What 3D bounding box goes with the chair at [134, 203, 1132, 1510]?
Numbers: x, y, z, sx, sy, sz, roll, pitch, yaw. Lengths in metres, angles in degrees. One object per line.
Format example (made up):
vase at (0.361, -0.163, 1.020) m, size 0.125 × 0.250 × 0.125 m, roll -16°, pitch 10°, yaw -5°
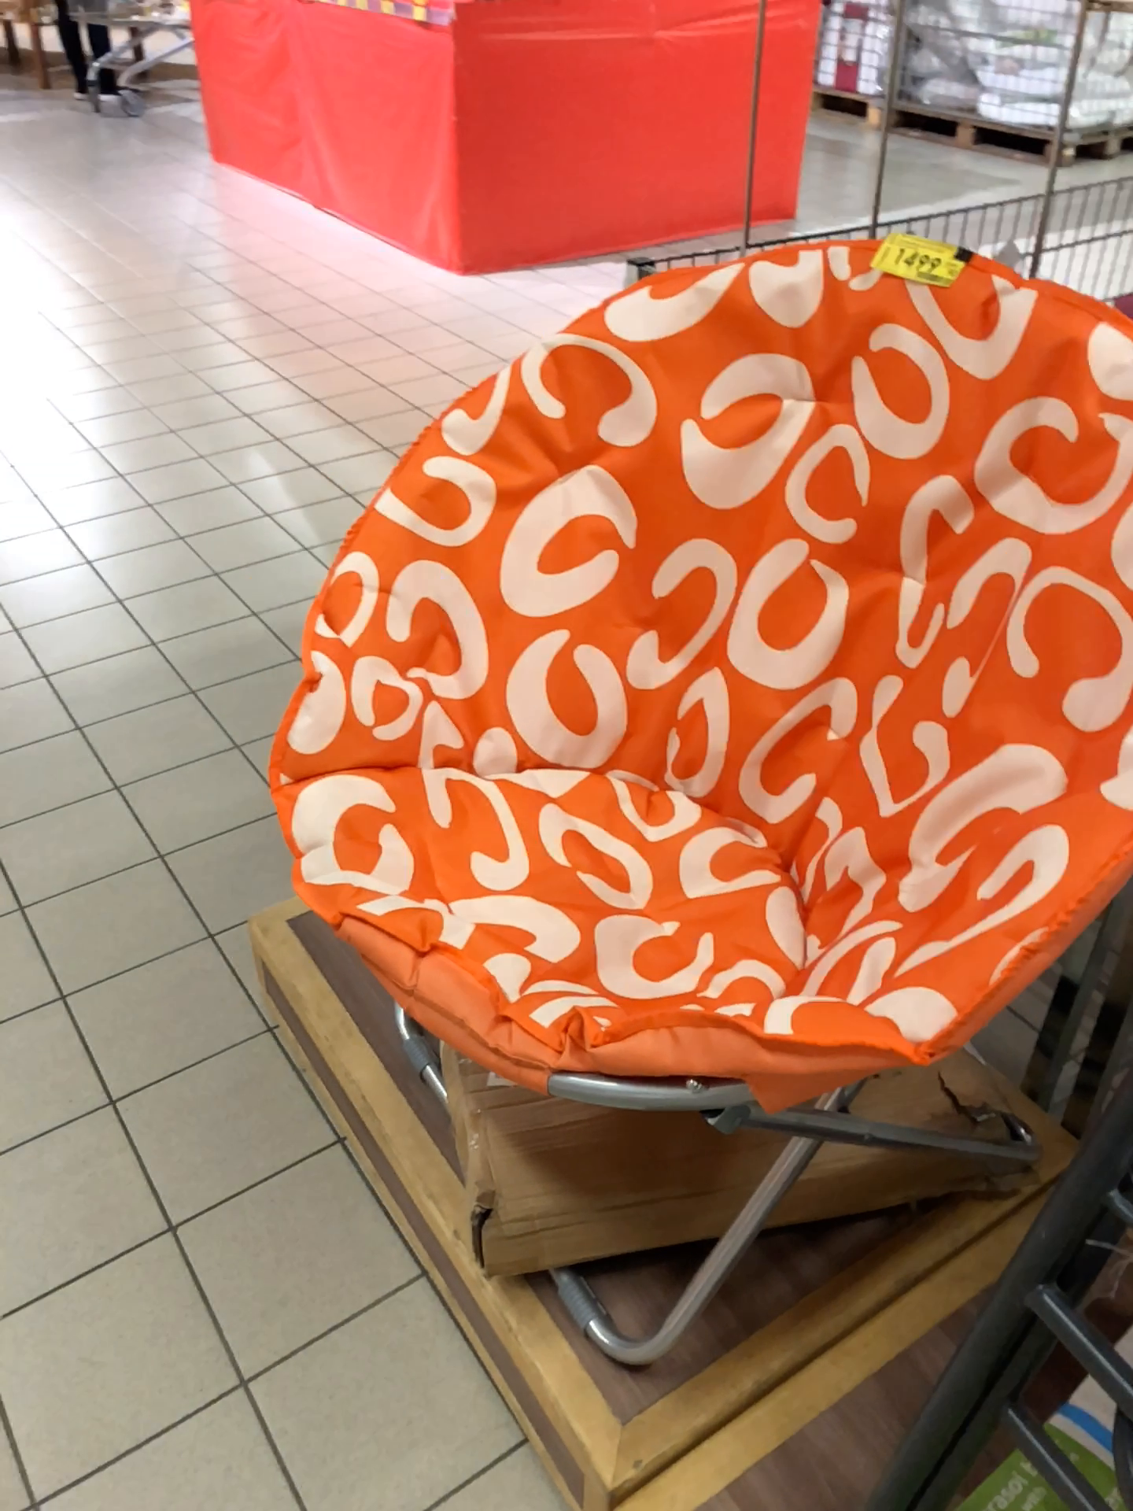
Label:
chair at (0.153, -0.026, 1.026) m, size 0.712 × 0.606 × 0.737 m, roll -18°, pitch 40°, yaw -25°
